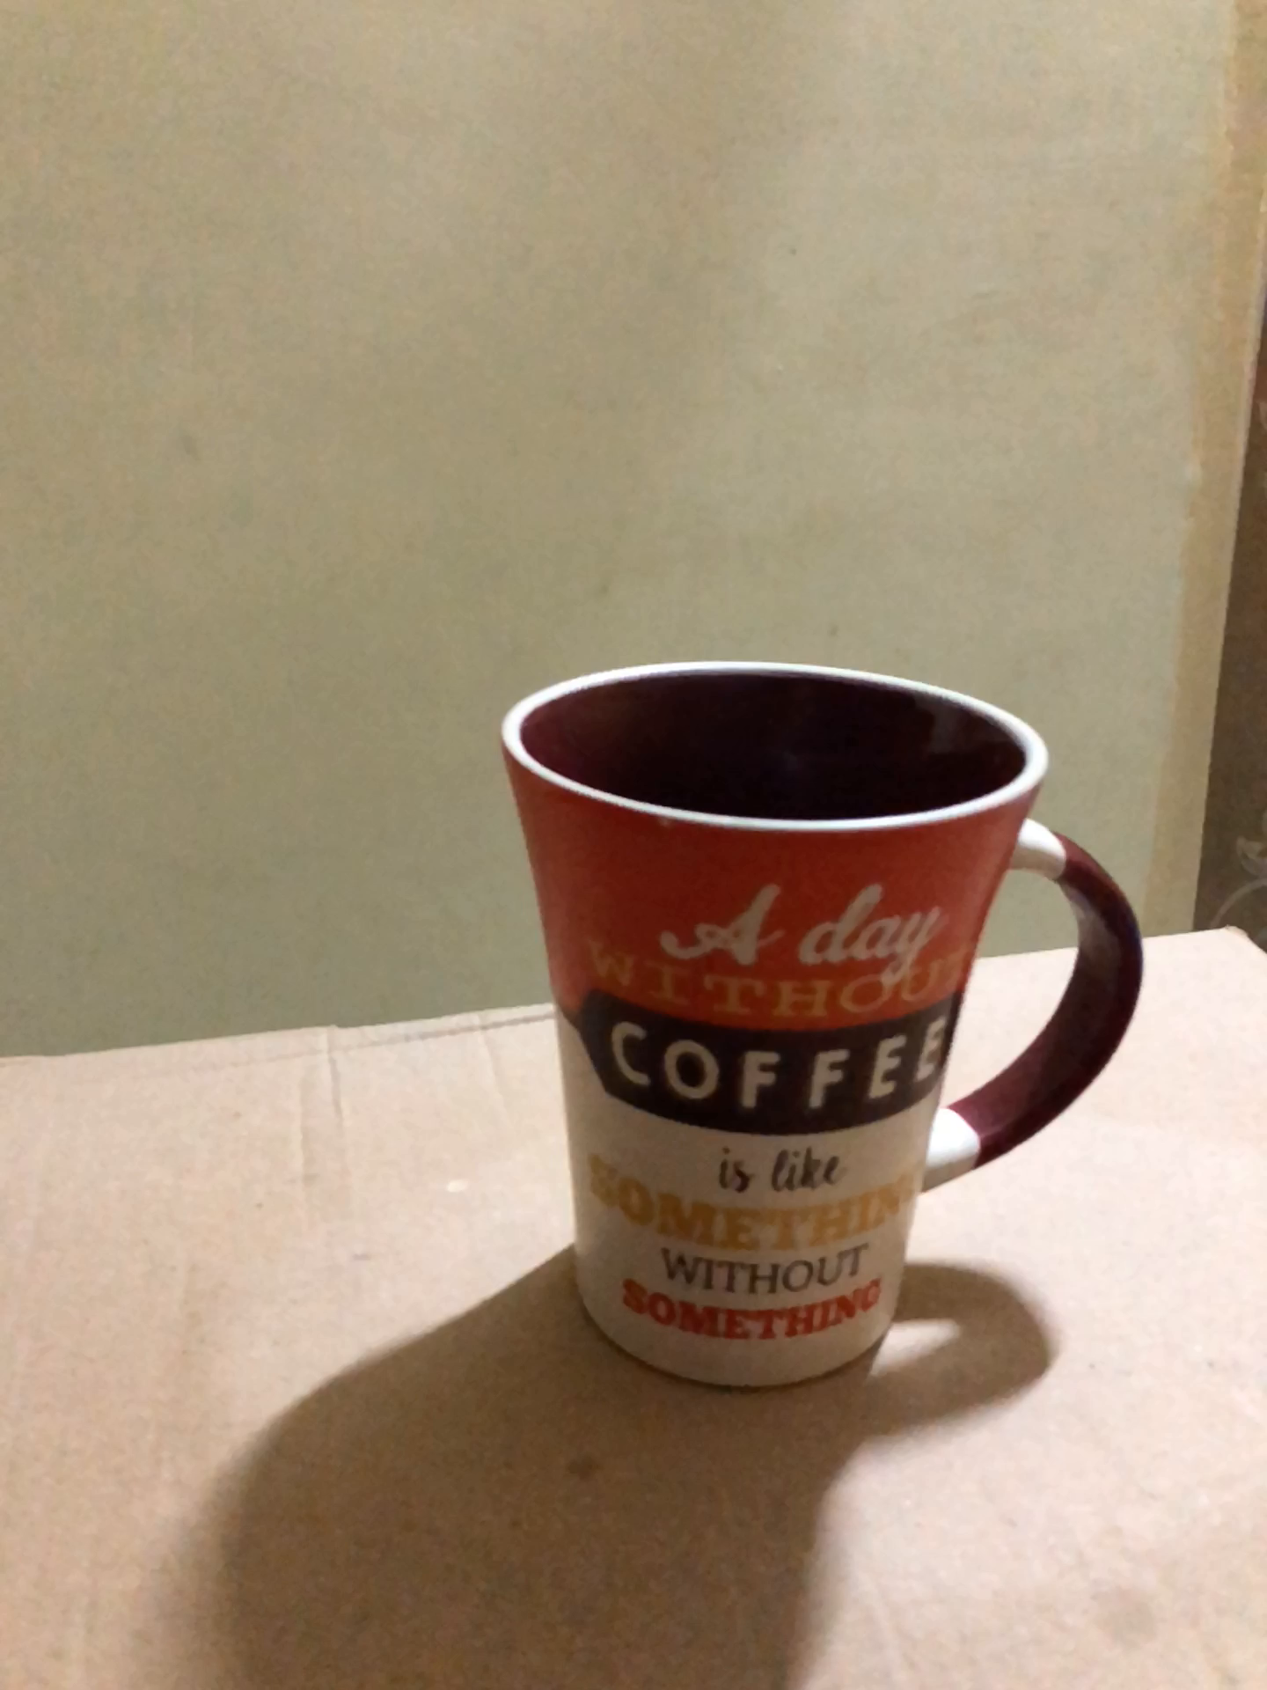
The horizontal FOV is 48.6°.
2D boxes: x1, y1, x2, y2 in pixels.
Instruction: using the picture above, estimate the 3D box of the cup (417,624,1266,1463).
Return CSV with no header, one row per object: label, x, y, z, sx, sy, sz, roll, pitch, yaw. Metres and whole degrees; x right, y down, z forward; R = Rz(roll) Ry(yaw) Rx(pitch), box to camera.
cup,0.032,0.026,0.268,0.130,0.109,0.100,-6,19,-11
